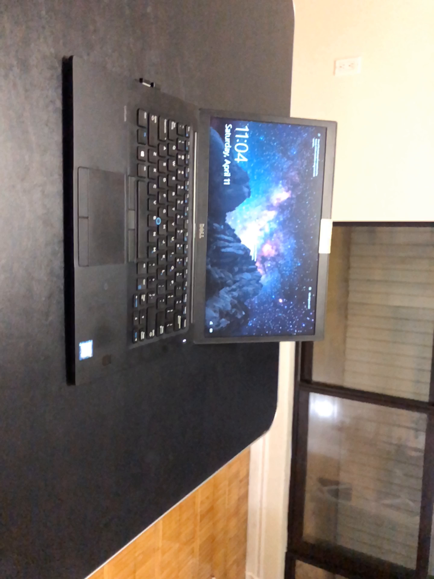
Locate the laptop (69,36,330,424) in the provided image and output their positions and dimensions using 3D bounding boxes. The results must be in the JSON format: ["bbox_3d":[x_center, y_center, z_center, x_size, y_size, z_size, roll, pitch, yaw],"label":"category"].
[{"bbox_3d":[0.009,-0.063,0.592,0.369,0.140,0.319,-11,104,-60],"label":"laptop"}]
